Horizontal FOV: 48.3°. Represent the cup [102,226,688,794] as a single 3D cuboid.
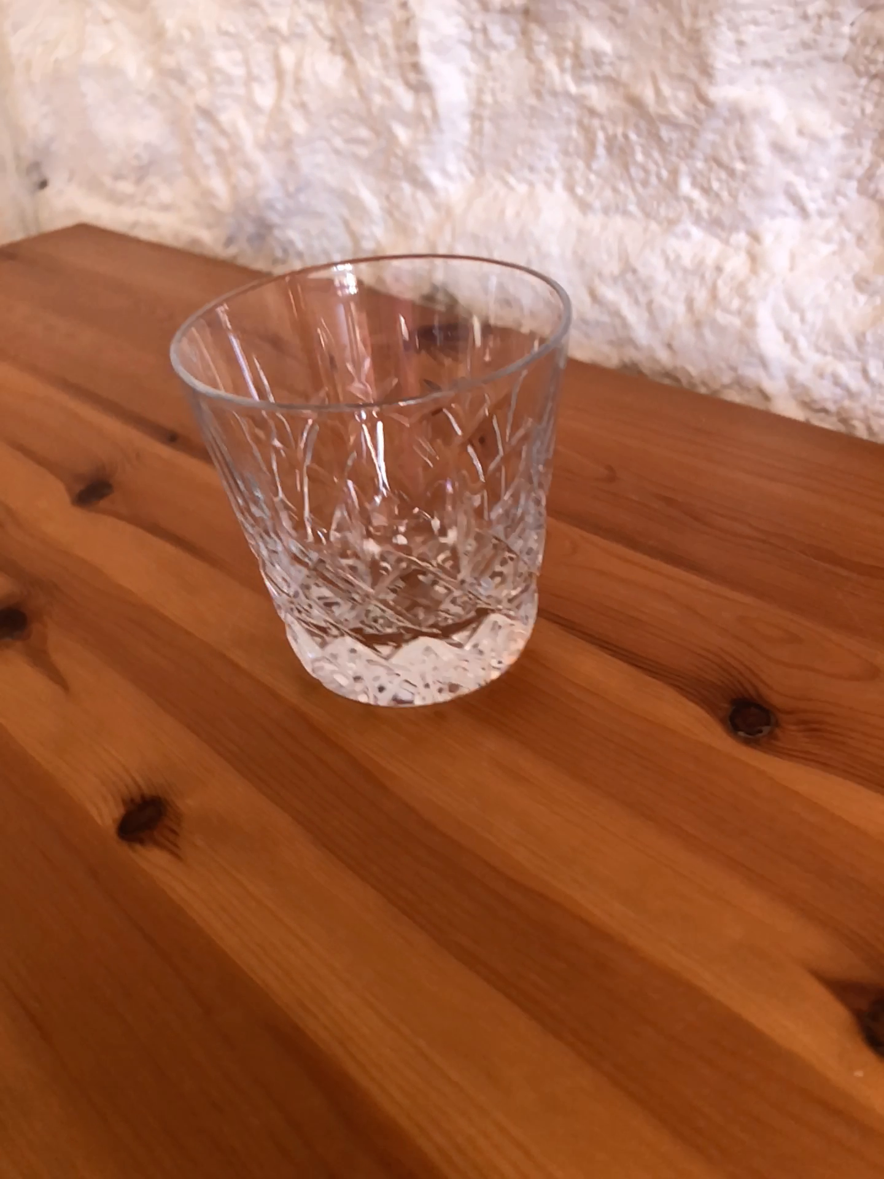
[{"bbox_3d":[-0.007,-0.023,0.201,0.077,0.068,0.077,-4,36,3],"label":"cup"}]
